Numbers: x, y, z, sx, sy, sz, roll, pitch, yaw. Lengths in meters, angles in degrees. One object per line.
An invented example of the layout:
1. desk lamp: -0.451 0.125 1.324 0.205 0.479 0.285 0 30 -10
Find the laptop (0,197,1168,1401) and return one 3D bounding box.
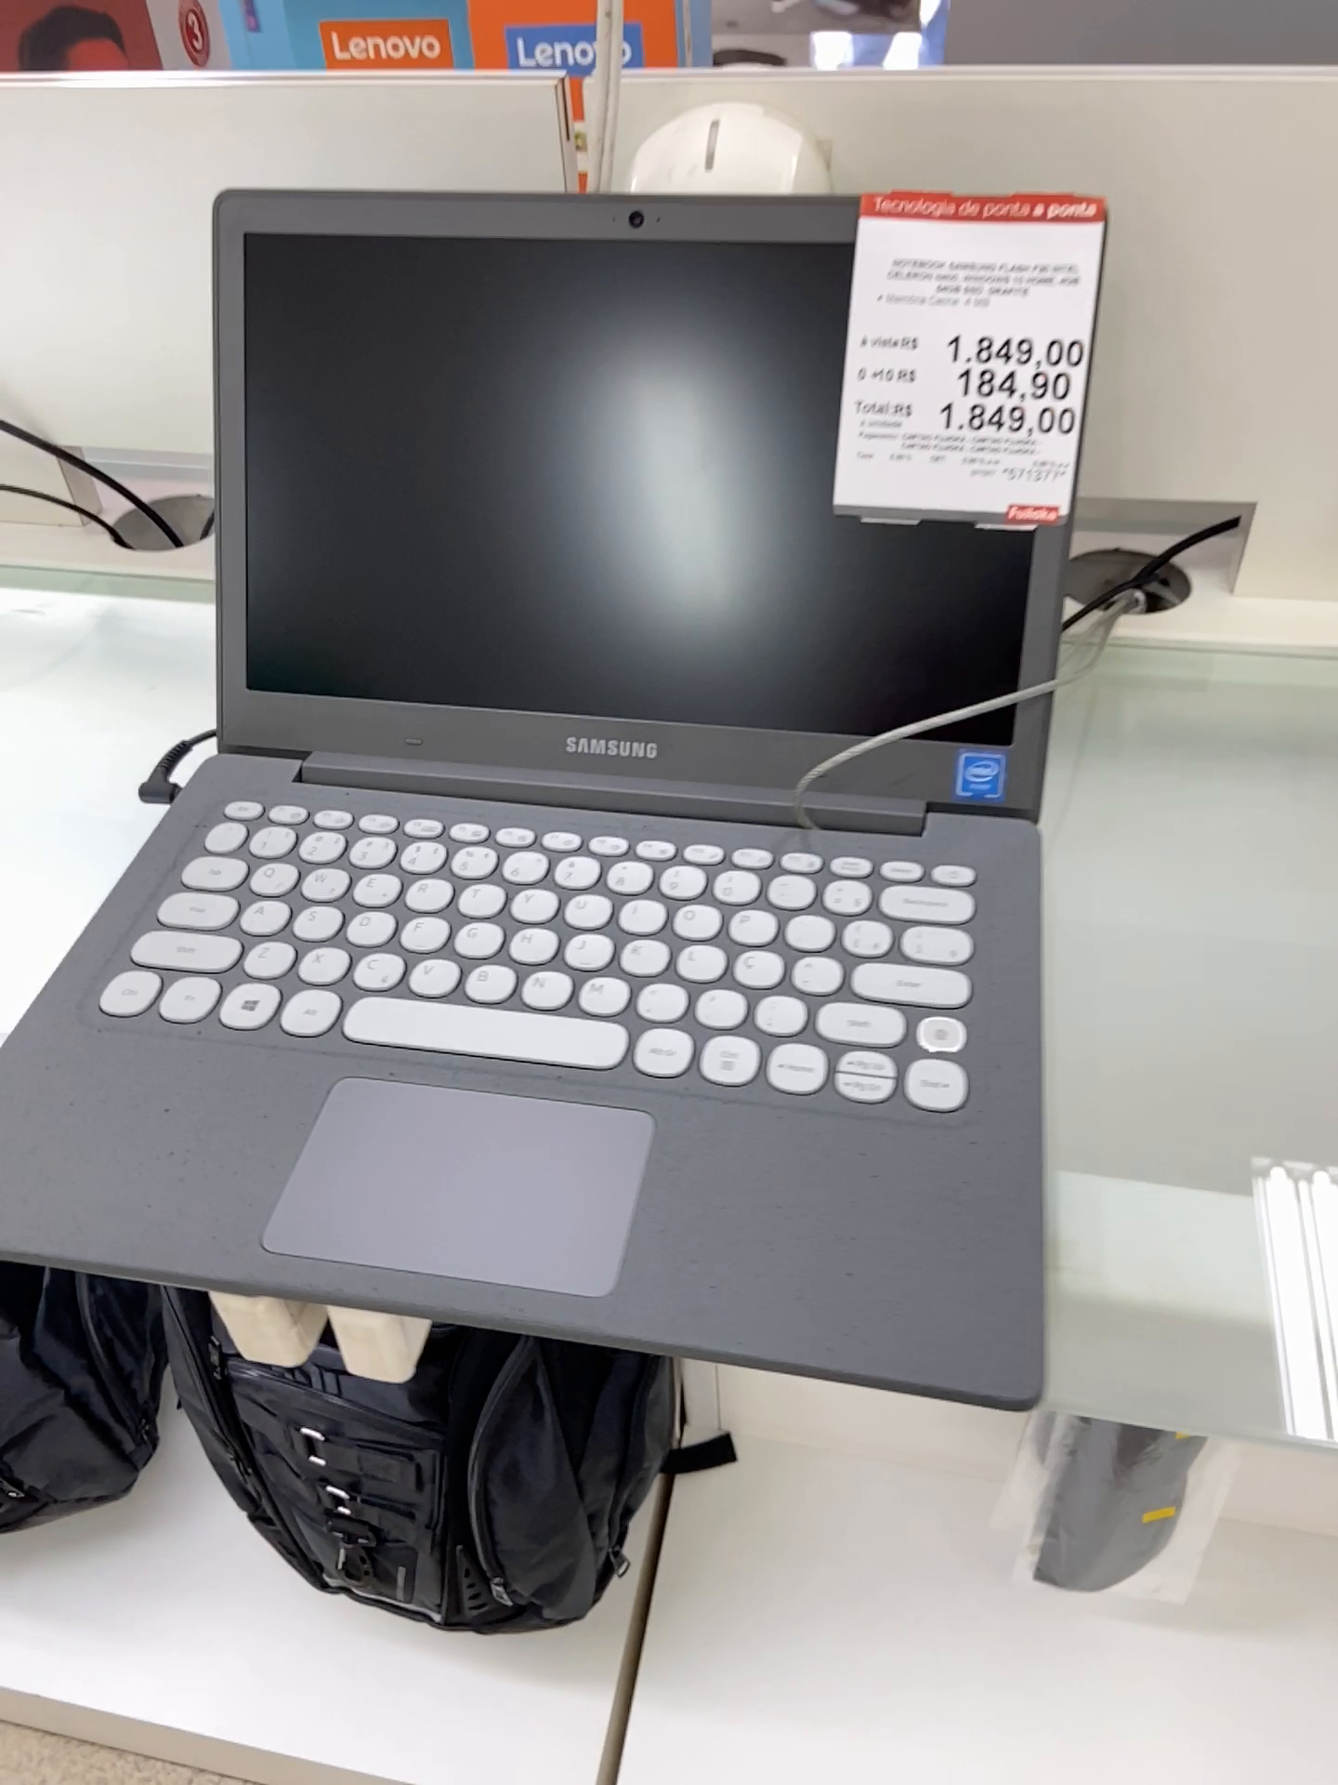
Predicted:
1. laptop: -0.040 -0.067 0.431 0.324 0.172 0.342 5 44 11
